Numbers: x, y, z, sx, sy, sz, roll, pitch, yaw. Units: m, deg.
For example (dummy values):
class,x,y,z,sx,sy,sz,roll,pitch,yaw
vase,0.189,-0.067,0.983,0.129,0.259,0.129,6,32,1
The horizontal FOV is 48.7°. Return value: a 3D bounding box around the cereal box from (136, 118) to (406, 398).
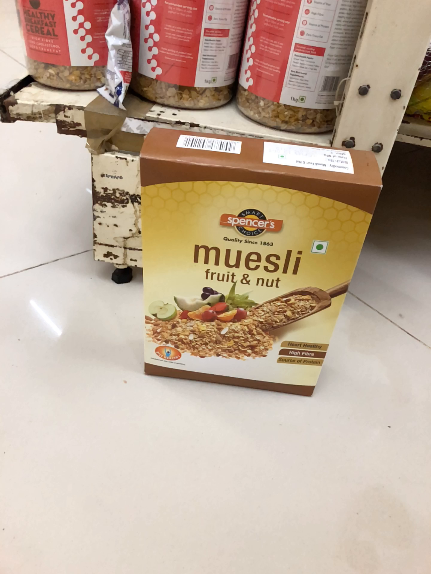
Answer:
class,x,y,z,sx,sy,sz,roll,pitch,yaw
cereal box,0.032,-0.012,0.430,0.190,0.238,0.060,7,38,2
